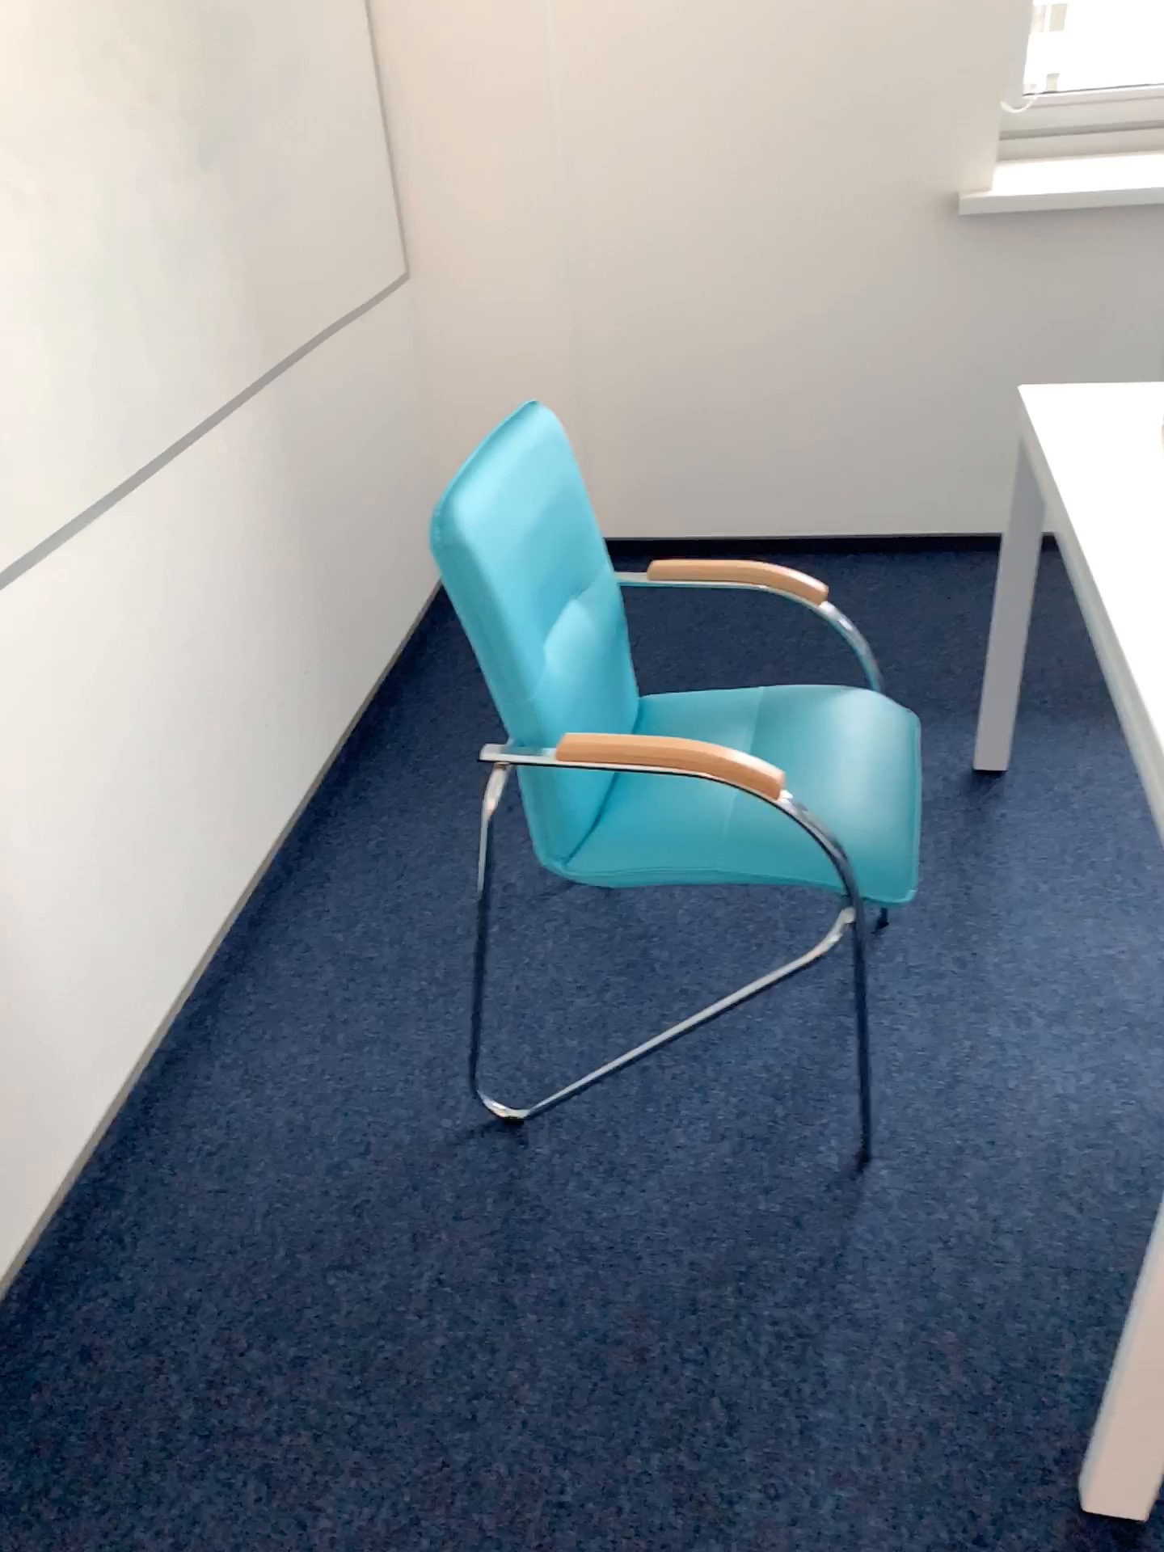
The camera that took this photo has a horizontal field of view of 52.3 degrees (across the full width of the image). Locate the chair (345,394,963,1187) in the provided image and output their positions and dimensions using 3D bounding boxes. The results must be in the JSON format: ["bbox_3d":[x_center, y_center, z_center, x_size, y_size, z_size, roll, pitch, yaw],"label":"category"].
[{"bbox_3d":[0.158,0.004,1.713,0.650,0.925,0.583,4,34,14],"label":"chair"}]
